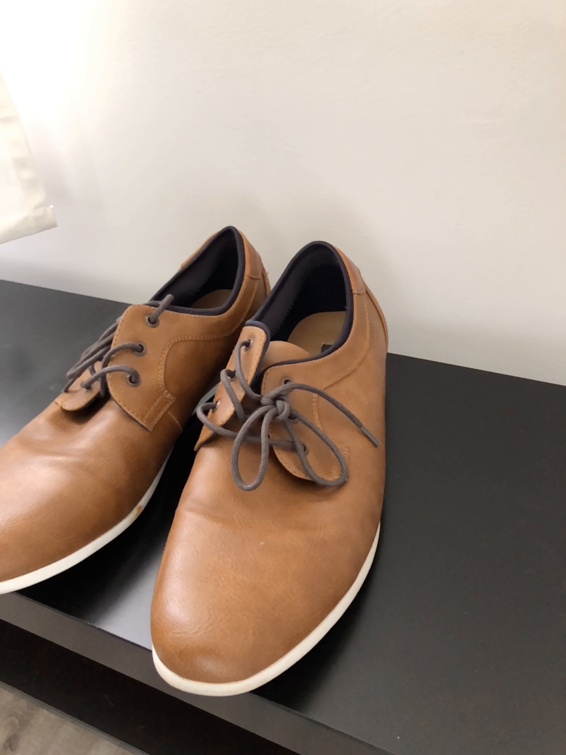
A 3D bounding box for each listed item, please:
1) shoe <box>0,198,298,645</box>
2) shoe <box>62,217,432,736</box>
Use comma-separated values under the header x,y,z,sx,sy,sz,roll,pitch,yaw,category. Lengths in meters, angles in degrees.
x,y,z,sx,sy,sz,roll,pitch,yaw,category
-0.104,0.000,0.386,0.104,0.100,0.270,16,45,25,shoe
0.011,0.022,0.355,0.104,0.100,0.281,7,42,16,shoe
